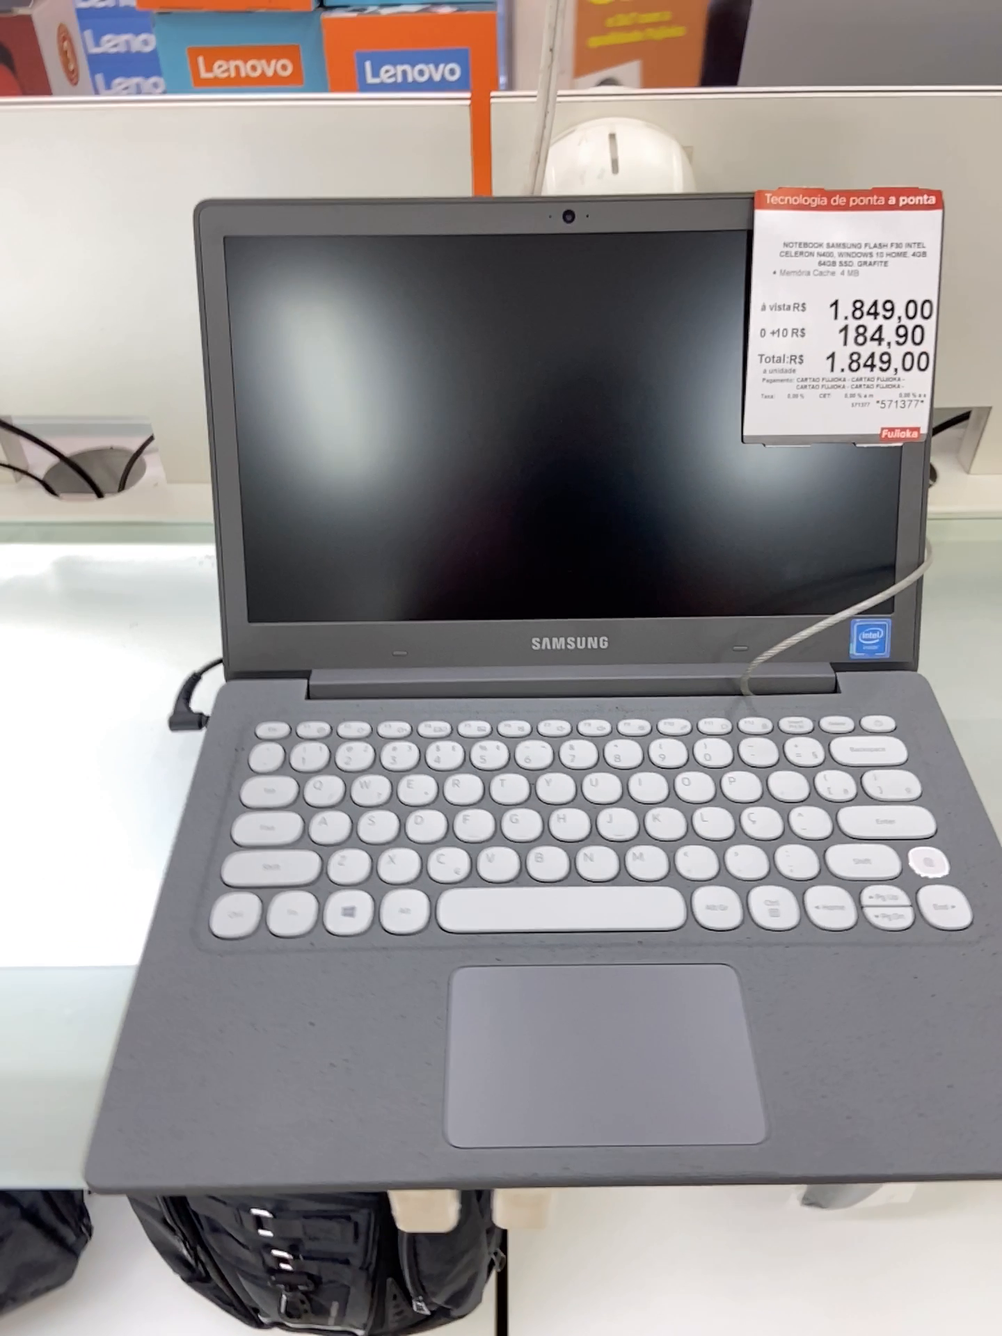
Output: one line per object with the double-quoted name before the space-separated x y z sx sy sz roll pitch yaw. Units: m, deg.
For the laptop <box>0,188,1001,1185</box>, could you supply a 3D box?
"laptop" 0.031 -0.024 0.382 0.324 0.172 0.342 -1 43 1
